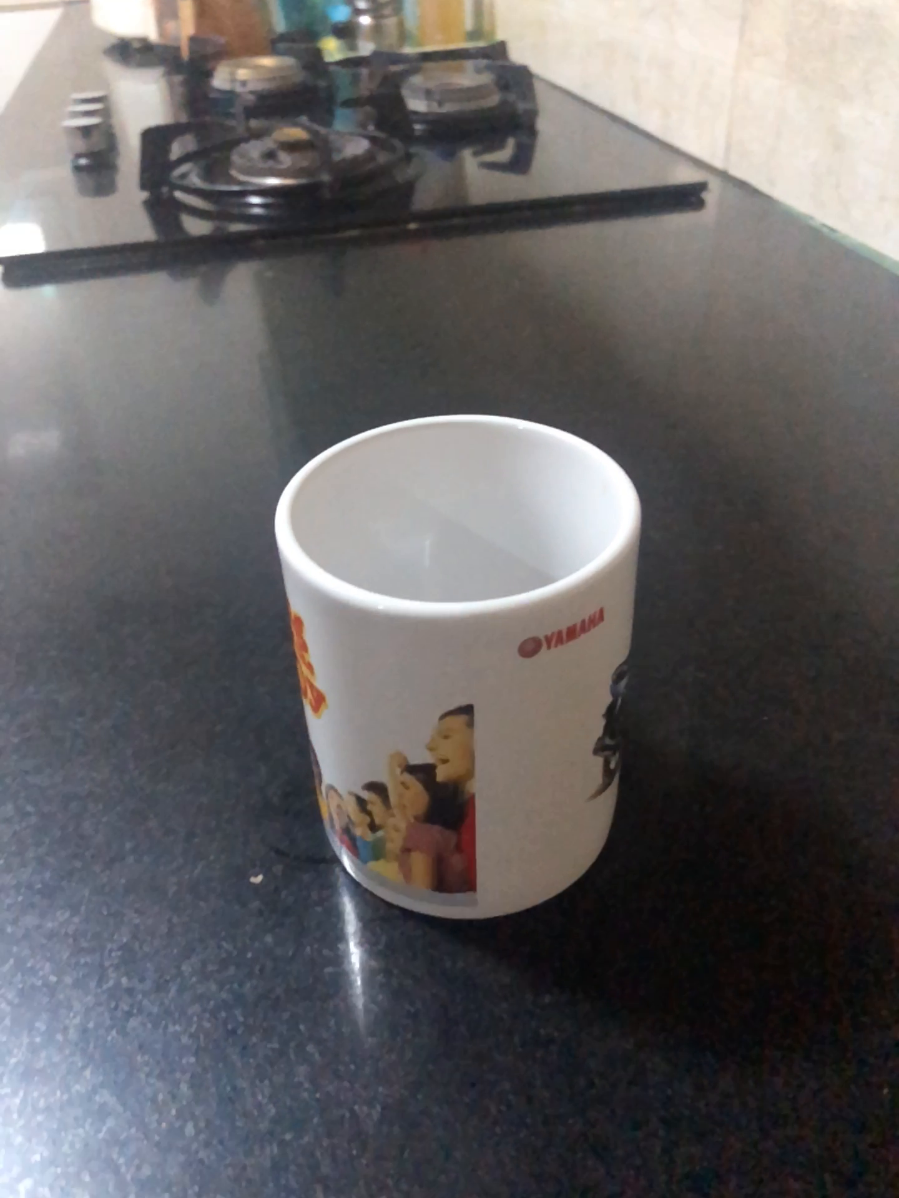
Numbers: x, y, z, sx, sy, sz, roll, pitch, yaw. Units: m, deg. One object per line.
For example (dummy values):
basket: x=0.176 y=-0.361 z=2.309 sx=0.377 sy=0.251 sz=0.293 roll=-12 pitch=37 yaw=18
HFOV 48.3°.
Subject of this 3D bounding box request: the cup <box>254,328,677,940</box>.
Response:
cup: x=-0.004 y=0.002 z=0.265 sx=0.080 sy=0.099 sz=0.121 roll=-7 pitch=36 yaw=-6
